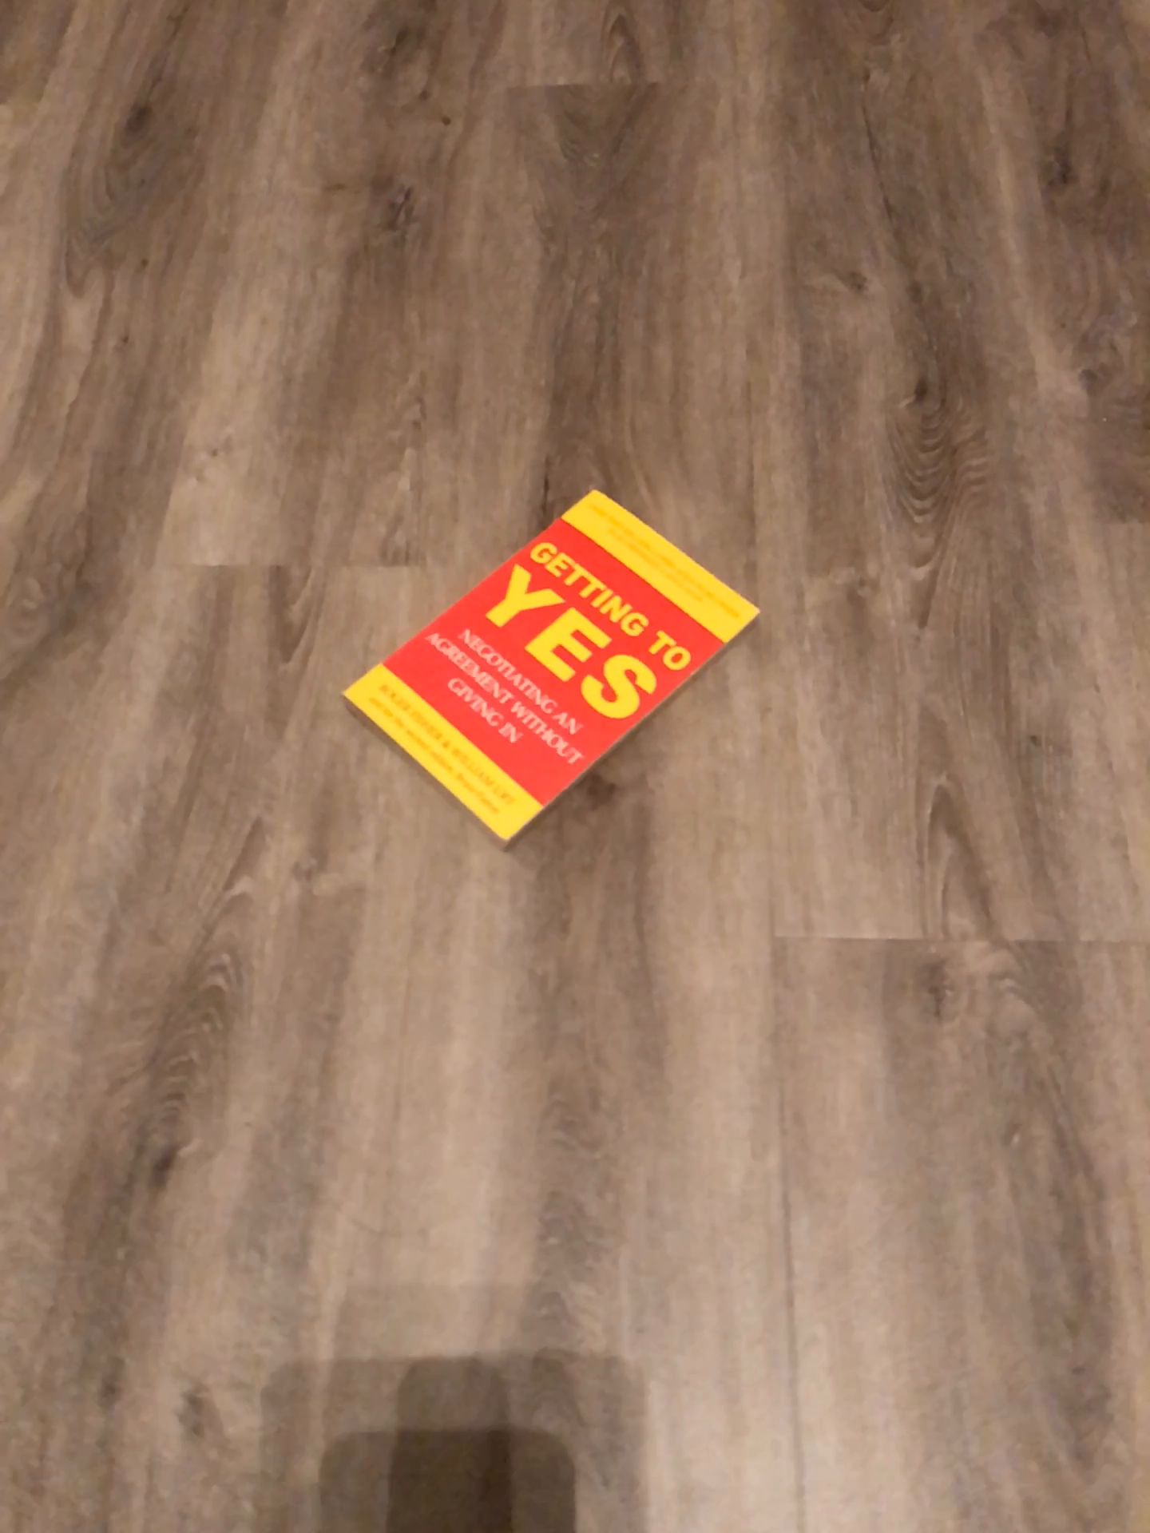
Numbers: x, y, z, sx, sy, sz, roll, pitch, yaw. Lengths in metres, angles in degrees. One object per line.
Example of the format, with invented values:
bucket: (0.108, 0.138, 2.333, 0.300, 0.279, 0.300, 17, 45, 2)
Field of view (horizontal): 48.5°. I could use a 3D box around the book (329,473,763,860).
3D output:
book: (-0.014, -0.059, 0.675, 0.190, 0.026, 0.130, -42, 66, -18)
